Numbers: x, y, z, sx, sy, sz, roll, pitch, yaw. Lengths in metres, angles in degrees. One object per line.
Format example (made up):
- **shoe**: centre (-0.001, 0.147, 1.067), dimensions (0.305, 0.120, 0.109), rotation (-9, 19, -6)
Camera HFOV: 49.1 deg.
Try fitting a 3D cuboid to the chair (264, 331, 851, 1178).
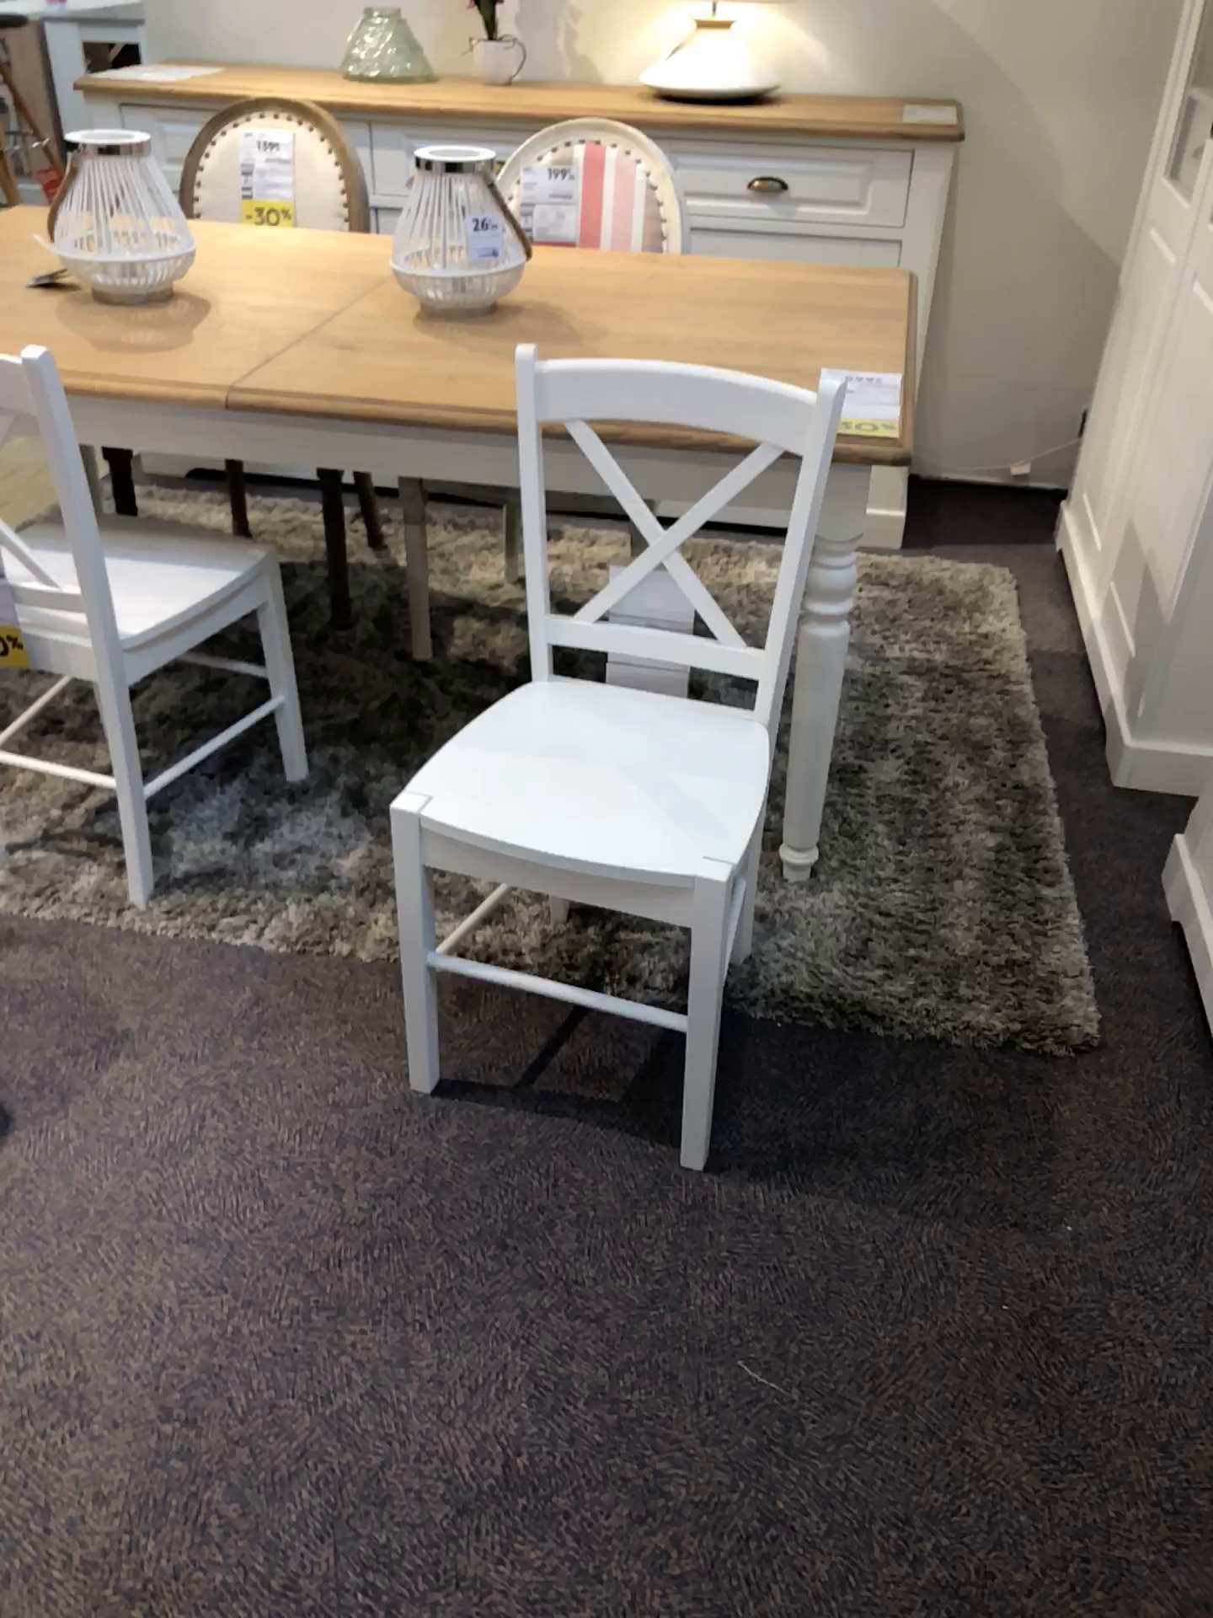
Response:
- **chair**: centre (-0.029, -0.071, 1.537), dimensions (0.460, 0.785, 0.463), rotation (11, 34, 14)
